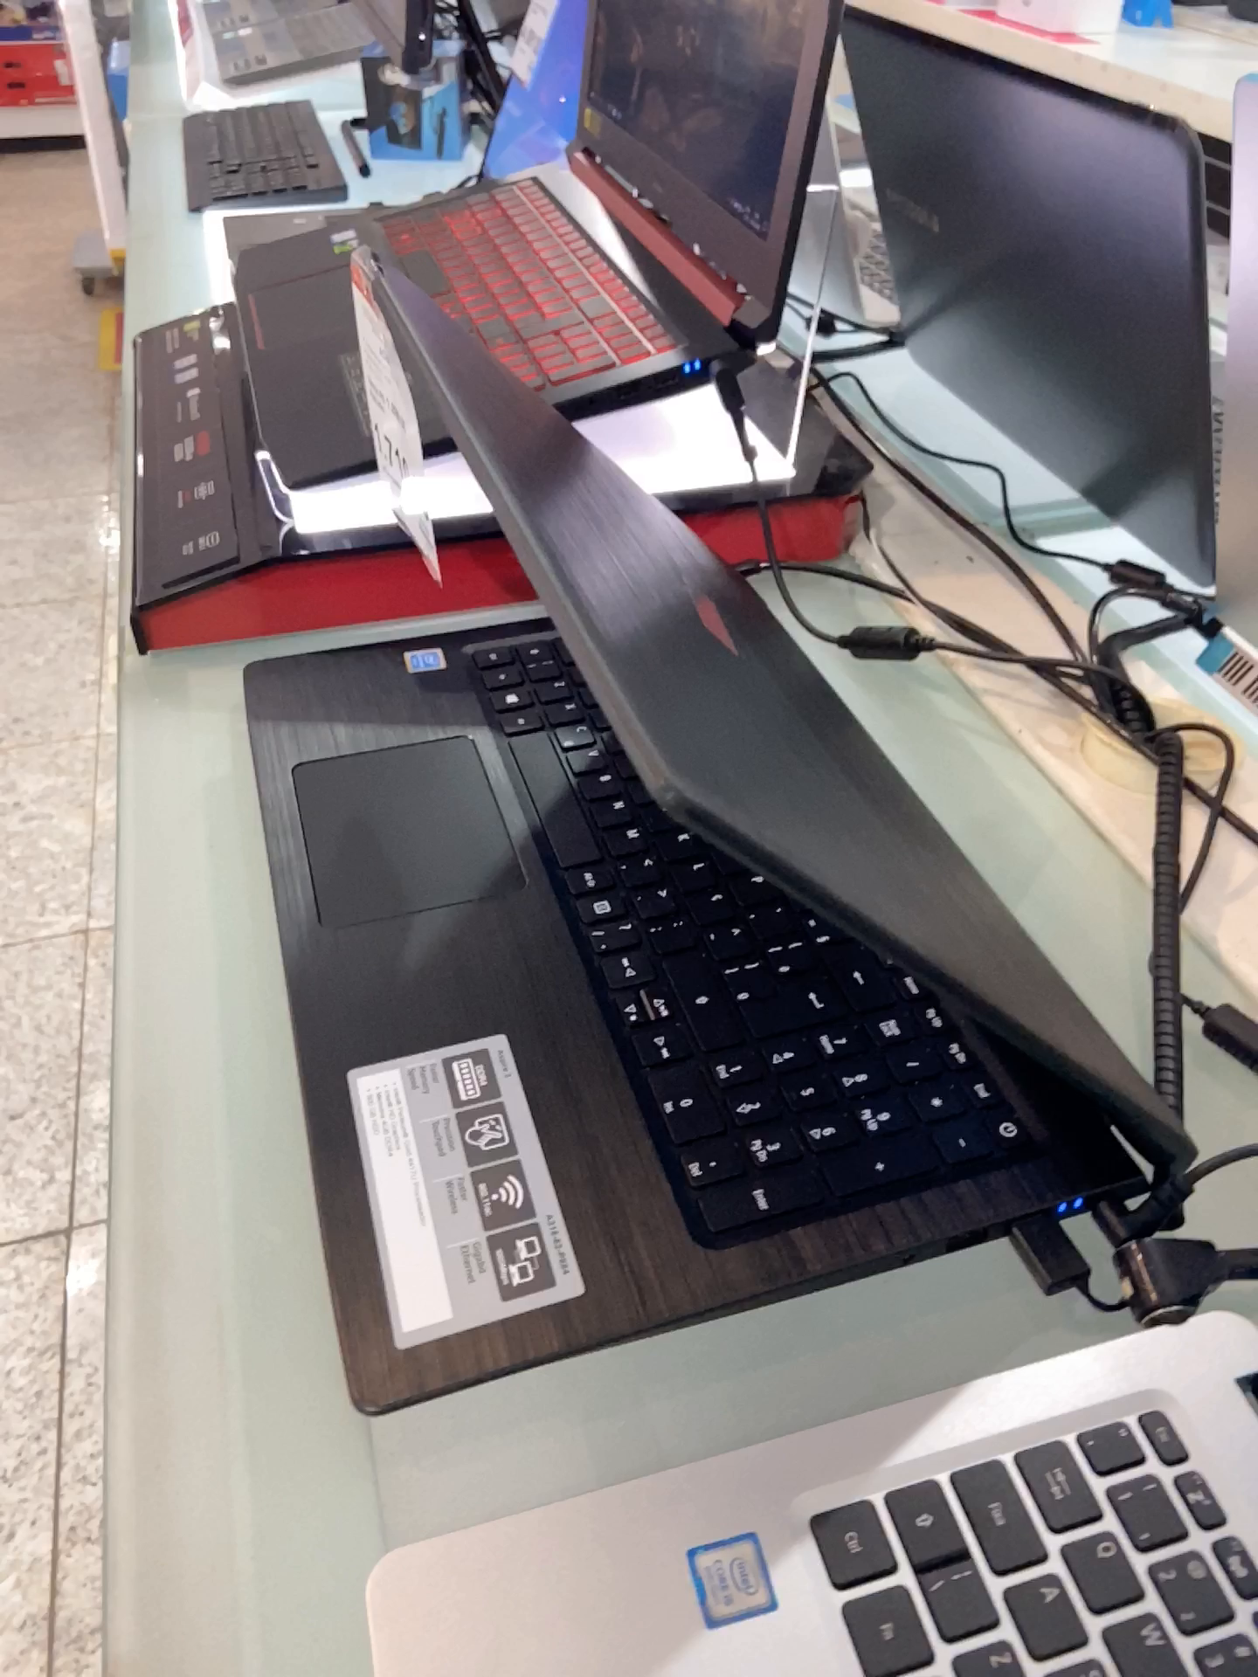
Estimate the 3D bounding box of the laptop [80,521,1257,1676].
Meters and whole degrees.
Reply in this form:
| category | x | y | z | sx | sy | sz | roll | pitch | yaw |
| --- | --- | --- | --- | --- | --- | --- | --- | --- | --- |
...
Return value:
| category | x | y | z | sx | sy | sz | roll | pitch | yaw |
| --- | --- | --- | --- | --- | --- | --- | --- | --- | --- |
| laptop | 0.139 | 0.170 | 0.131 | 0.313 | 0.227 | 0.364 | -10 | 40 | -12 |

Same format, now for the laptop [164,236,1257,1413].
| category | x | y | z | sx | sy | sz | roll | pitch | yaw |
| --- | --- | --- | --- | --- | --- | --- | --- | --- | --- |
| laptop | -0.016 | -0.054 | 0.449 | 0.230 | 0.169 | 0.377 | -13 | 41 | -13 |
